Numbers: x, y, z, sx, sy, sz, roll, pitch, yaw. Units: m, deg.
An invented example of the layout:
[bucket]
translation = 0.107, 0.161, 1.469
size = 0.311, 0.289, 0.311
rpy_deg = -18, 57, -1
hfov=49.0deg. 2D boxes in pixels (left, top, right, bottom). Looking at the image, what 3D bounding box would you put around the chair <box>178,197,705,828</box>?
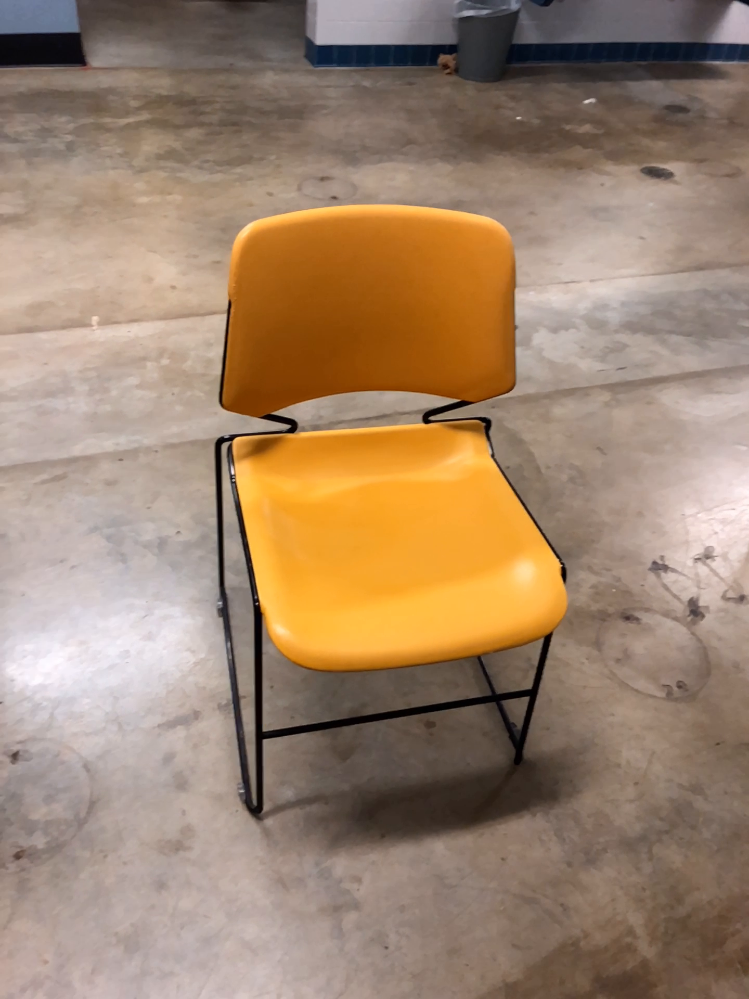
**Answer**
[chair]
translation = 0.012, 0.027, 1.297
size = 0.529, 0.796, 0.526
rpy_deg = -6, 44, -14
